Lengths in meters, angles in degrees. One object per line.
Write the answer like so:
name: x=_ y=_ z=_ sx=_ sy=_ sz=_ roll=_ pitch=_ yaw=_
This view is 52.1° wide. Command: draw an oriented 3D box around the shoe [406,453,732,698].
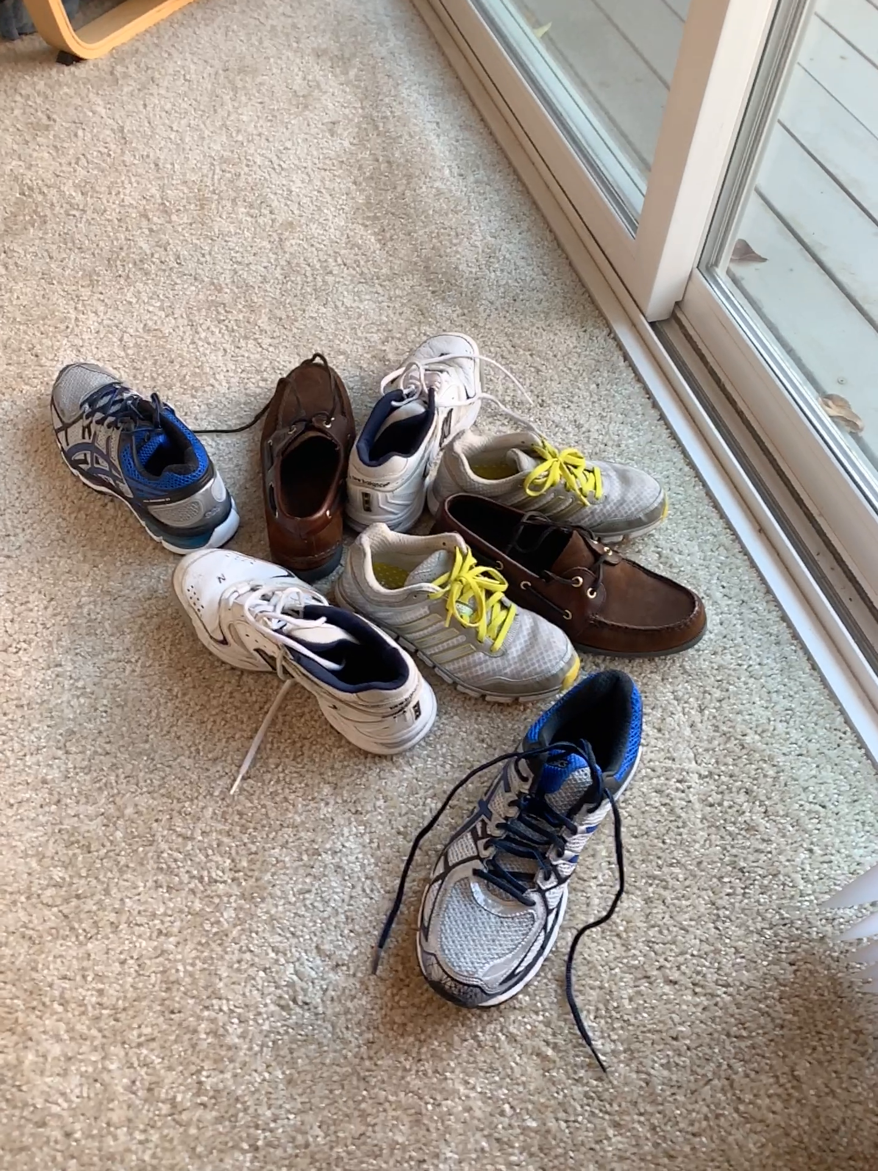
shoe: x=0.116 y=-0.013 z=0.854 sx=0.280 sy=0.080 sz=0.100 roll=25 pitch=57 yaw=14

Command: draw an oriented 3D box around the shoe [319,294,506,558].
shoe: x=-0.022 y=-0.177 z=0.959 sx=0.100 sy=0.110 sz=0.271 roll=18 pitch=55 yaw=10

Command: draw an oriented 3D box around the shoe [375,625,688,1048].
shoe: x=0.077 y=0.190 z=0.715 sx=0.110 sy=0.110 sz=0.291 roll=27 pitch=59 yaw=16

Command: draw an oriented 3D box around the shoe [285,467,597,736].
shoe: x=-0.002 y=0.010 z=0.771 sx=0.240 sy=0.090 sz=0.100 roll=29 pitch=58 yaw=16

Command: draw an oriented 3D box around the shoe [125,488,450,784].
shoe: x=-0.132 y=0.040 z=0.793 sx=0.281 sy=0.110 sz=0.090 roll=31 pitch=59 yaw=20

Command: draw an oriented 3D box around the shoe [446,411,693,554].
shoe: x=0.128 y=-0.103 z=0.898 sx=0.230 sy=0.060 sz=0.100 roll=7 pitch=55 yaw=1

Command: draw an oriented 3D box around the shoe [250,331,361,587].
shoe: x=-0.145 y=-0.142 z=0.973 sx=0.100 sy=0.110 sz=0.271 roll=-4 pitch=54 yaw=-5

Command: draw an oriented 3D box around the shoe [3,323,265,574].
shoe: x=-0.314 y=-0.147 z=0.925 sx=0.110 sy=0.090 sz=0.271 roll=-38 pitch=63 yaw=-25
